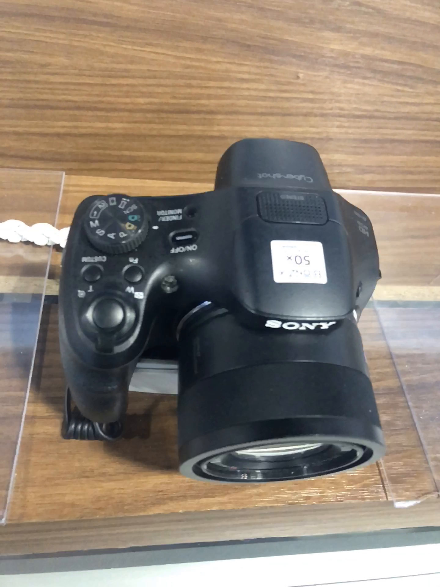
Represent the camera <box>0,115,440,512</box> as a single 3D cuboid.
[{"bbox_3d":[0.003,0.008,0.180,0.125,0.084,0.110,2,50,-9],"label":"camera"}]
